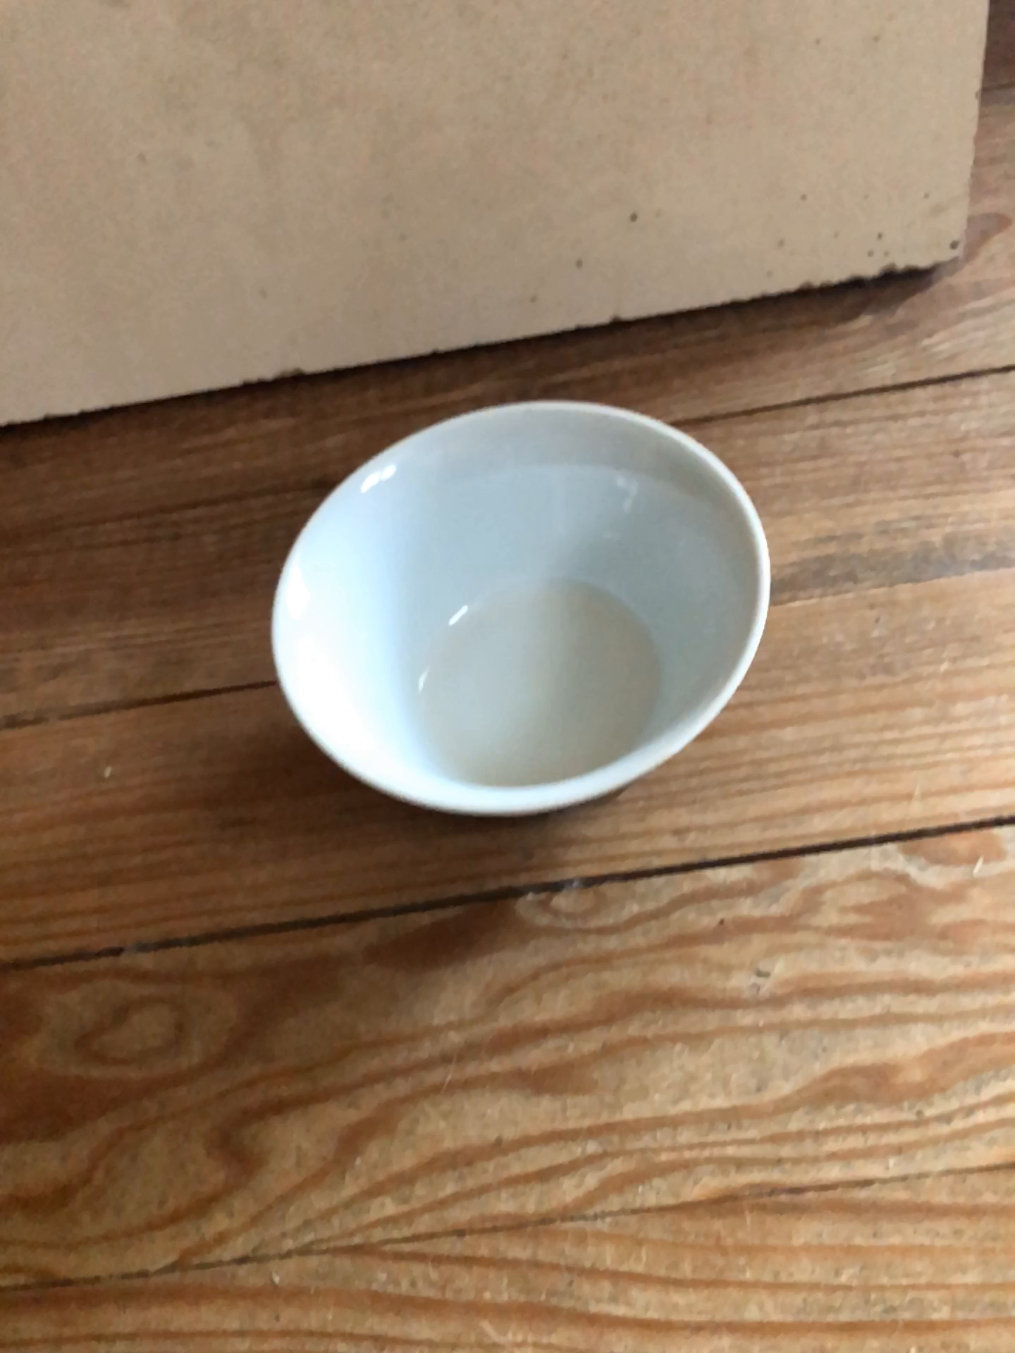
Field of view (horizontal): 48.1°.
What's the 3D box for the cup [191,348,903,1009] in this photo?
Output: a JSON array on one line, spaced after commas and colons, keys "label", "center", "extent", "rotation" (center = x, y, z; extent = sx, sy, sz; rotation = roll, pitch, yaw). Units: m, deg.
[{"label": "cup", "center": [0.008, -0.006, 0.253], "extent": [0.110, 0.040, 0.100], "rotation": [-41, 61, -17]}]
